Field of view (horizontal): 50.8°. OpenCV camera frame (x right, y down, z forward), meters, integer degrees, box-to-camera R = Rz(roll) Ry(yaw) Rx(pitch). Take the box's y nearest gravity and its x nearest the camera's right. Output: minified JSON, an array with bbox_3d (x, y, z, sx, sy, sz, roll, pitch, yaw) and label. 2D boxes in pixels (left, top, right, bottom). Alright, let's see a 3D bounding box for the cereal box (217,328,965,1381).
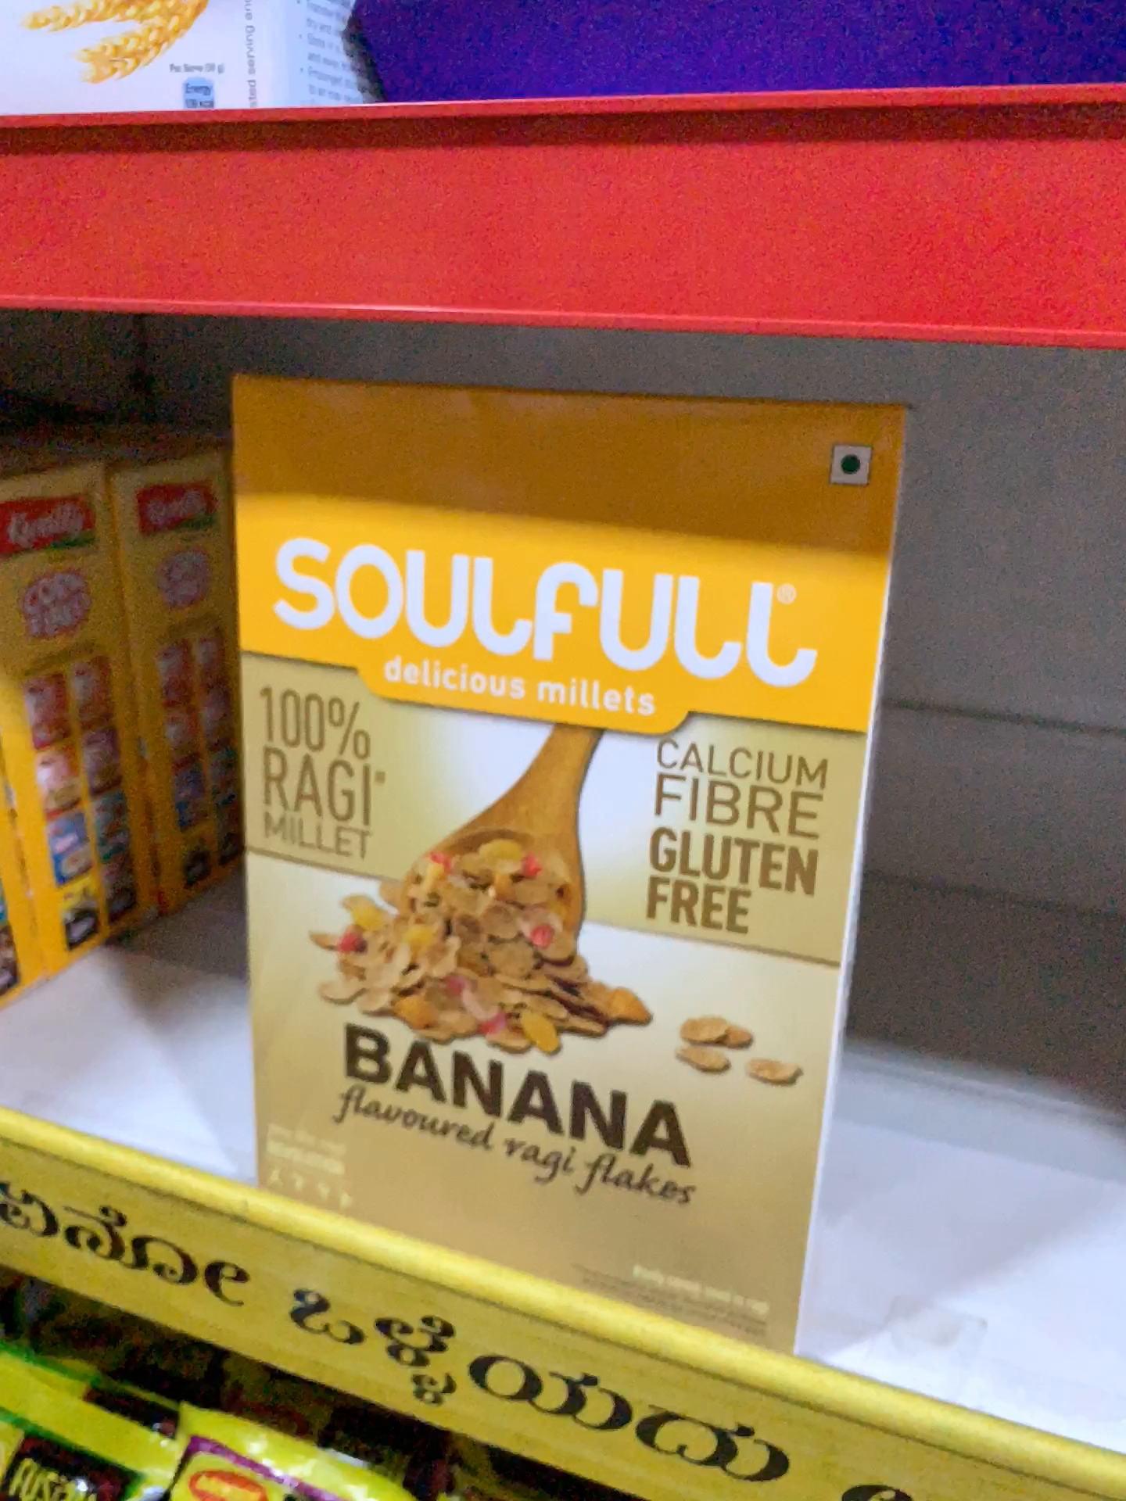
[{"bbox_3d":[0.002,0.018,0.300,0.160,0.229,0.060,8,16,18],"label":"cereal box"}]
